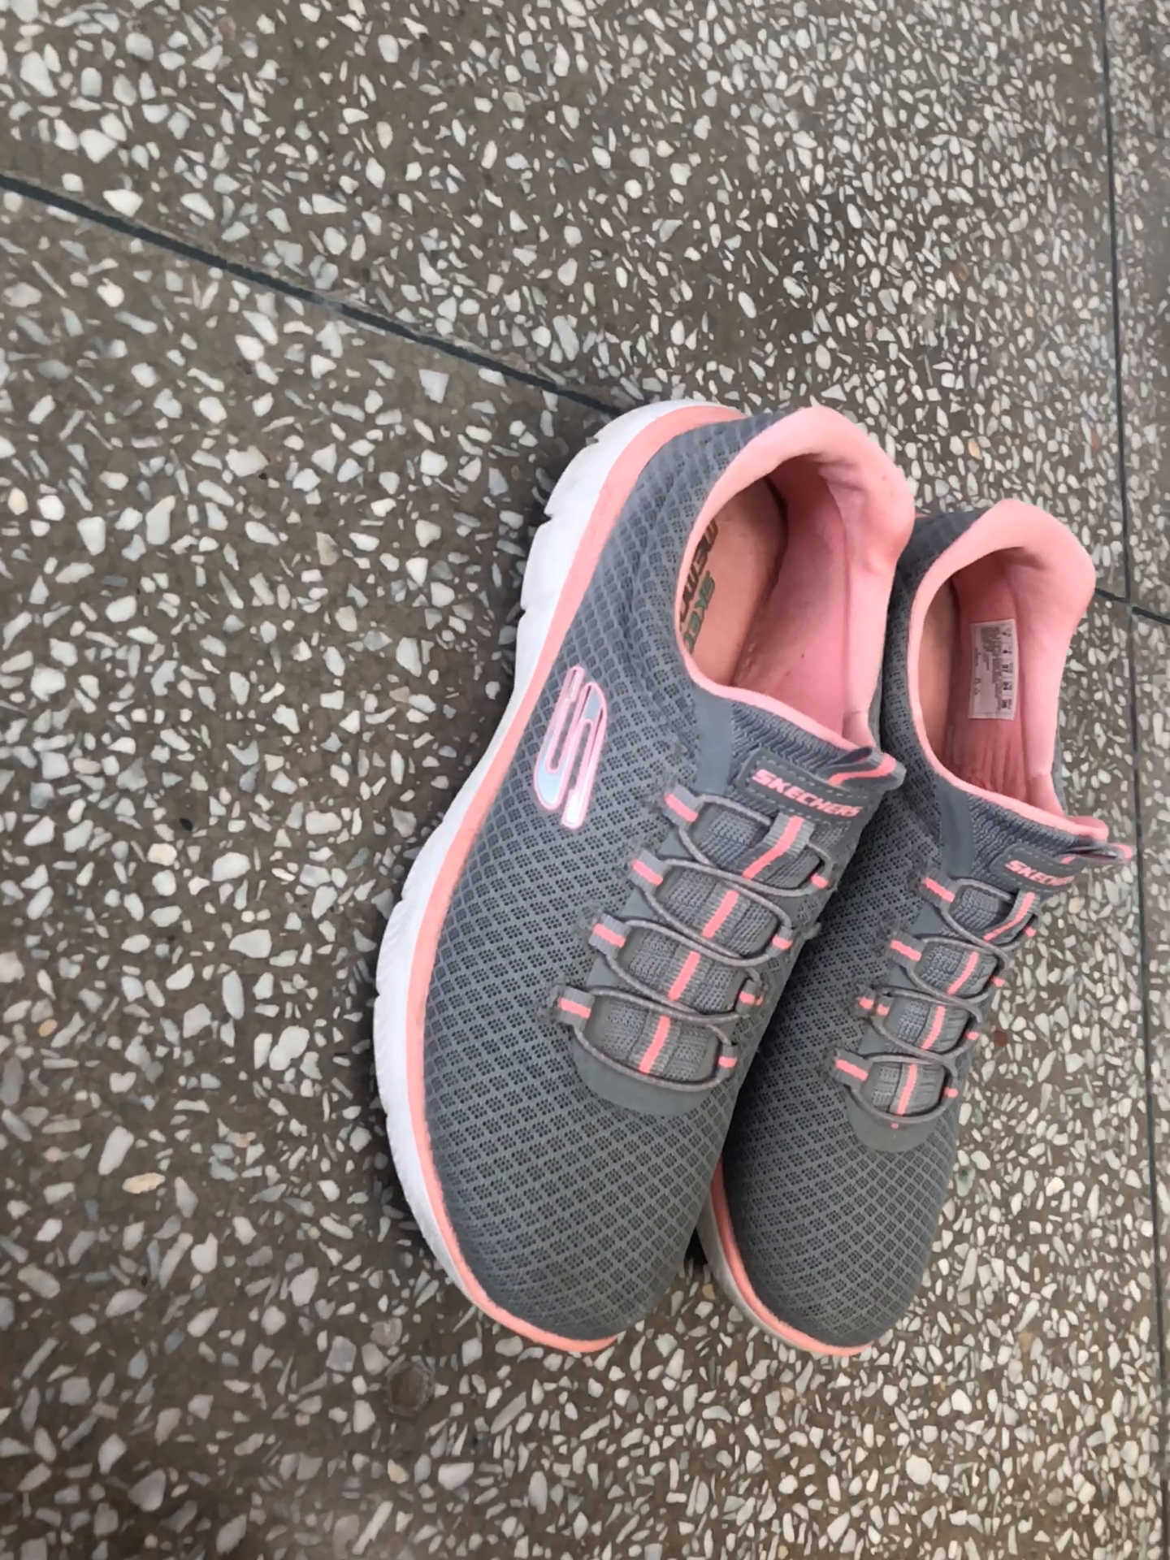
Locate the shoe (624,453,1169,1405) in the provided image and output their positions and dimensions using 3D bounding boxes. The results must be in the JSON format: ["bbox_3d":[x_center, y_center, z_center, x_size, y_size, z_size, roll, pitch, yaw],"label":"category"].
[{"bbox_3d":[0.100,0.041,0.377,0.090,0.100,0.230,20,76,-31],"label":"shoe"}]

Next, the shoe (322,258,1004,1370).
[{"bbox_3d":[0.022,0.010,0.340,0.090,0.100,0.240,20,76,-31],"label":"shoe"}]
